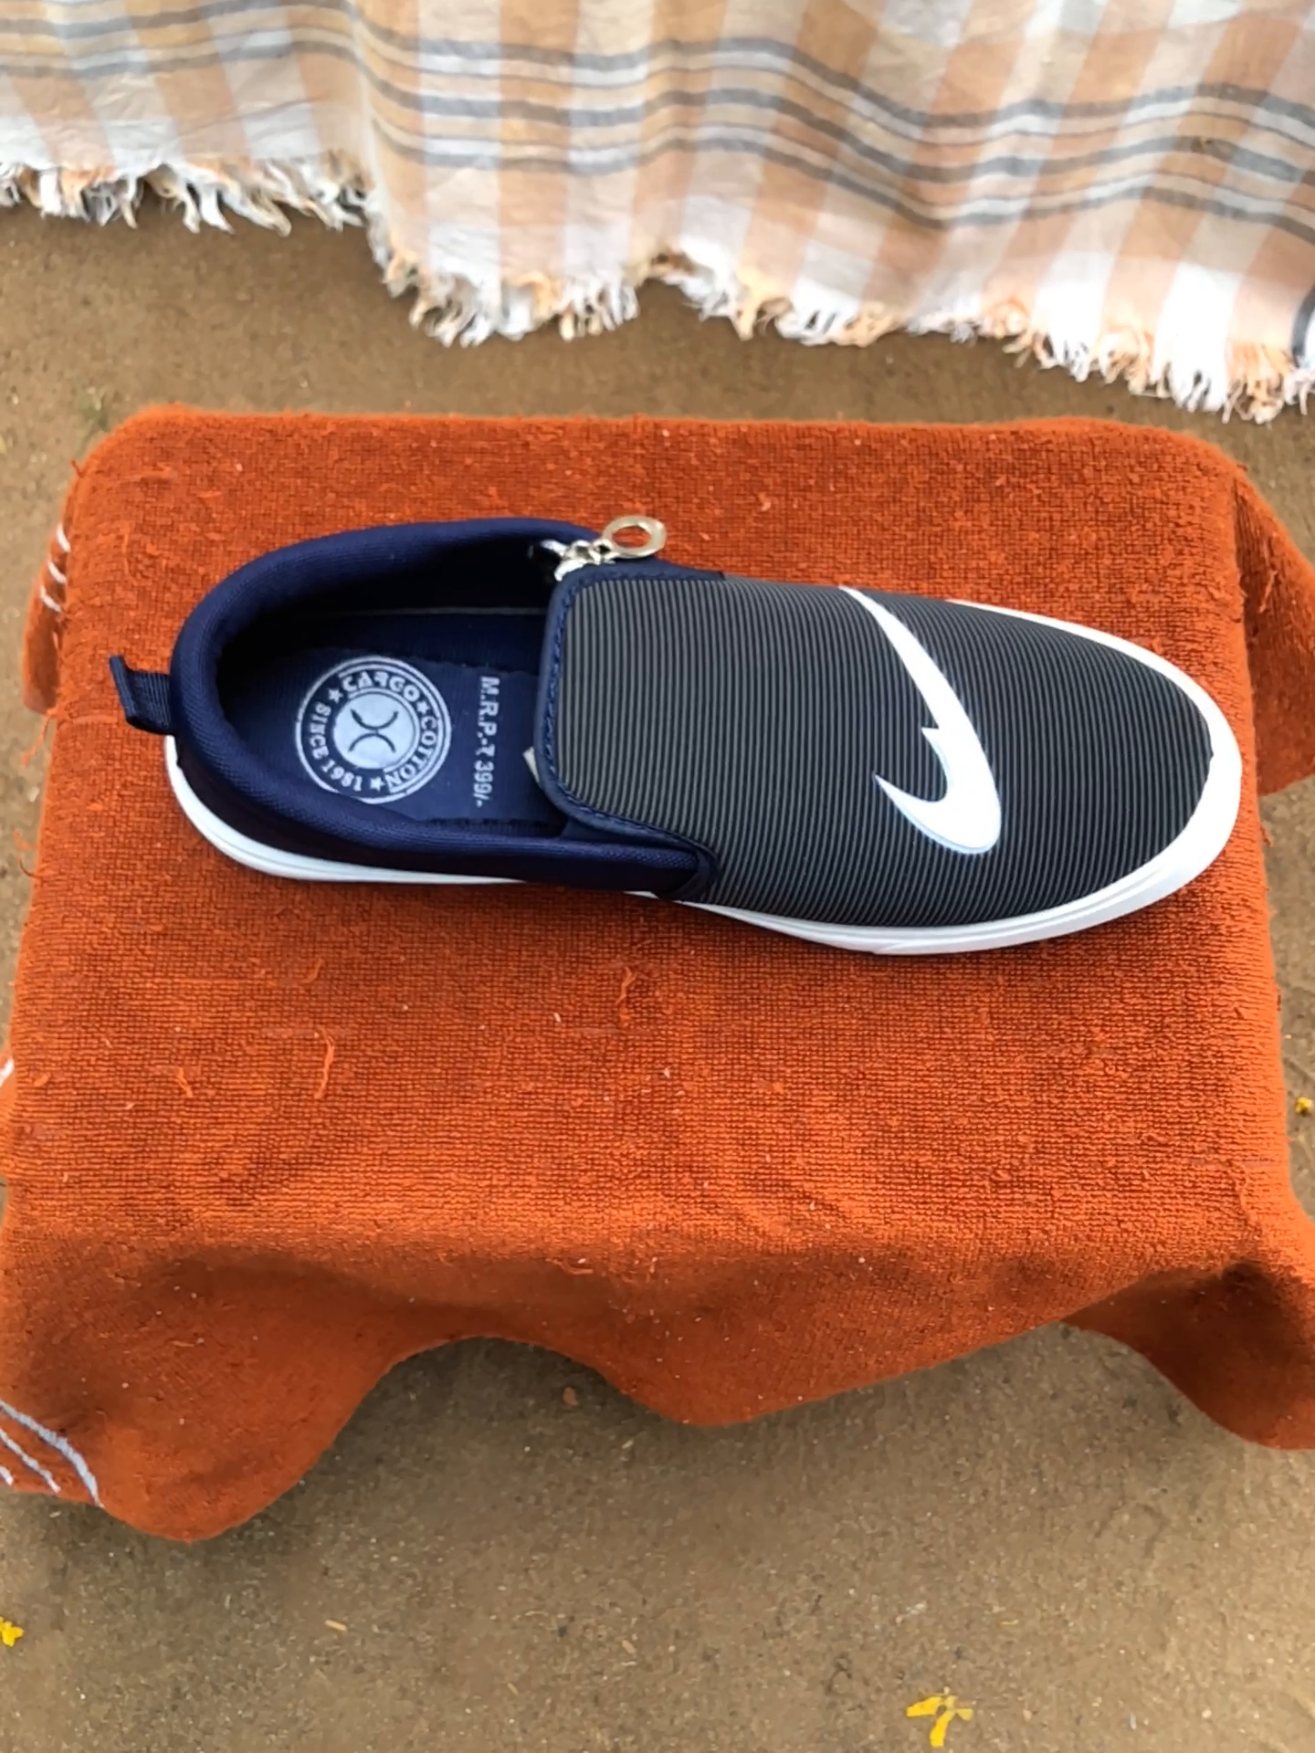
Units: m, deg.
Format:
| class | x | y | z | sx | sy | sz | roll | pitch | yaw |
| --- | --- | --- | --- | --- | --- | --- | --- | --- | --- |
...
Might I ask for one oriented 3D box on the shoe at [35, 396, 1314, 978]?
| class | x | y | z | sx | sy | sz | roll | pitch | yaw |
| --- | --- | --- | --- | --- | --- | --- | --- | --- | --- |
| shoe | 0.009 | -0.045 | 0.392 | 0.300 | 0.080 | 0.100 | 6 | 74 | -2 |
